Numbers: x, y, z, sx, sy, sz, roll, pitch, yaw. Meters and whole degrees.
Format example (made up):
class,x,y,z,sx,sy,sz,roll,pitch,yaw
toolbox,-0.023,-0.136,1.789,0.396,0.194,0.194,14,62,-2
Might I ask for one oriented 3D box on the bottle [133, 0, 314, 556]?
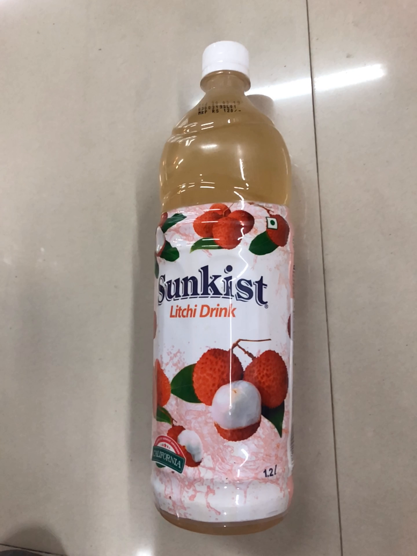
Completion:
class,x,y,z,sx,sy,sz,roll,pitch,yaw
bottle,0.013,-0.008,0.294,0.090,0.080,0.300,-2,86,20
